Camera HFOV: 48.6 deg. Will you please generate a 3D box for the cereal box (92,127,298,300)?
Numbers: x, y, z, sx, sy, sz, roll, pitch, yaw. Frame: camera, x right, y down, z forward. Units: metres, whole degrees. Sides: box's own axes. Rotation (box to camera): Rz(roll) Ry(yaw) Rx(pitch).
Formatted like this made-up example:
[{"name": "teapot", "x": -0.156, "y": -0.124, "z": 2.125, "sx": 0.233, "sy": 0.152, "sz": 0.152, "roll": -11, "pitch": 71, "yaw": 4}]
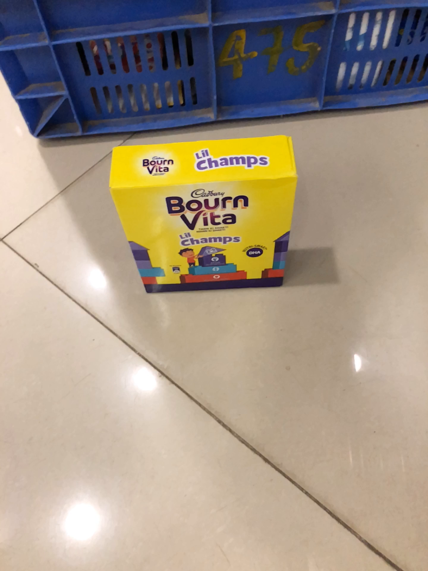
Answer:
[{"name": "cereal box", "x": -0.009, "y": -0.054, "z": 0.428, "sx": 0.150, "sy": 0.169, "sz": 0.050, "roll": -3, "pitch": 59, "yaw": 2}]
